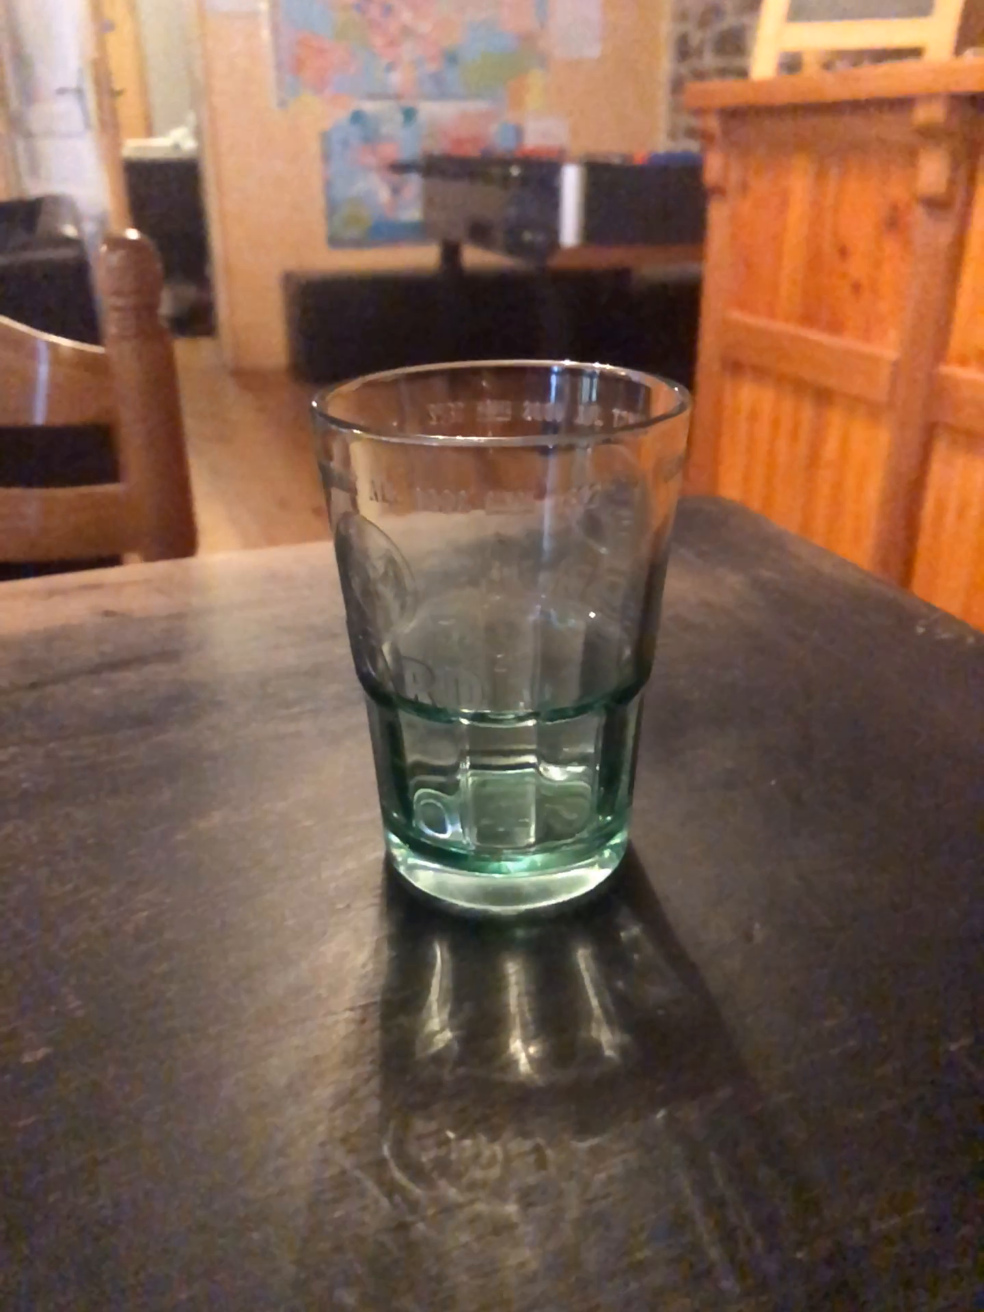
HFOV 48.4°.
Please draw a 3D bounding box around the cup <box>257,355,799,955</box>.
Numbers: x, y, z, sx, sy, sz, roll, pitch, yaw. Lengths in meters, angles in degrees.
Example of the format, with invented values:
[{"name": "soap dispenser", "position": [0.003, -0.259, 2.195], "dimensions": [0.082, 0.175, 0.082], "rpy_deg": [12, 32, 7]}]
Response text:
[{"name": "cup", "position": [0.005, -0.009, 0.259], "dimensions": [0.089, 0.103, 0.083], "rpy_deg": [0, 24, 0]}]
